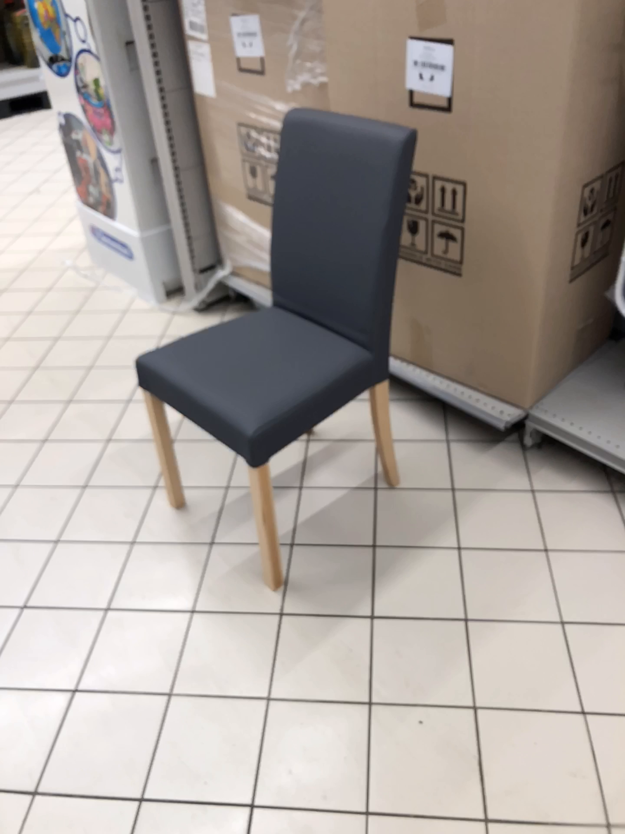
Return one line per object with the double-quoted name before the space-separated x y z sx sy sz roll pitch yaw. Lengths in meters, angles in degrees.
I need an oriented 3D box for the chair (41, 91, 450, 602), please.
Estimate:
"chair" -0.079 -0.172 1.486 0.470 0.825 0.573 26 47 36
